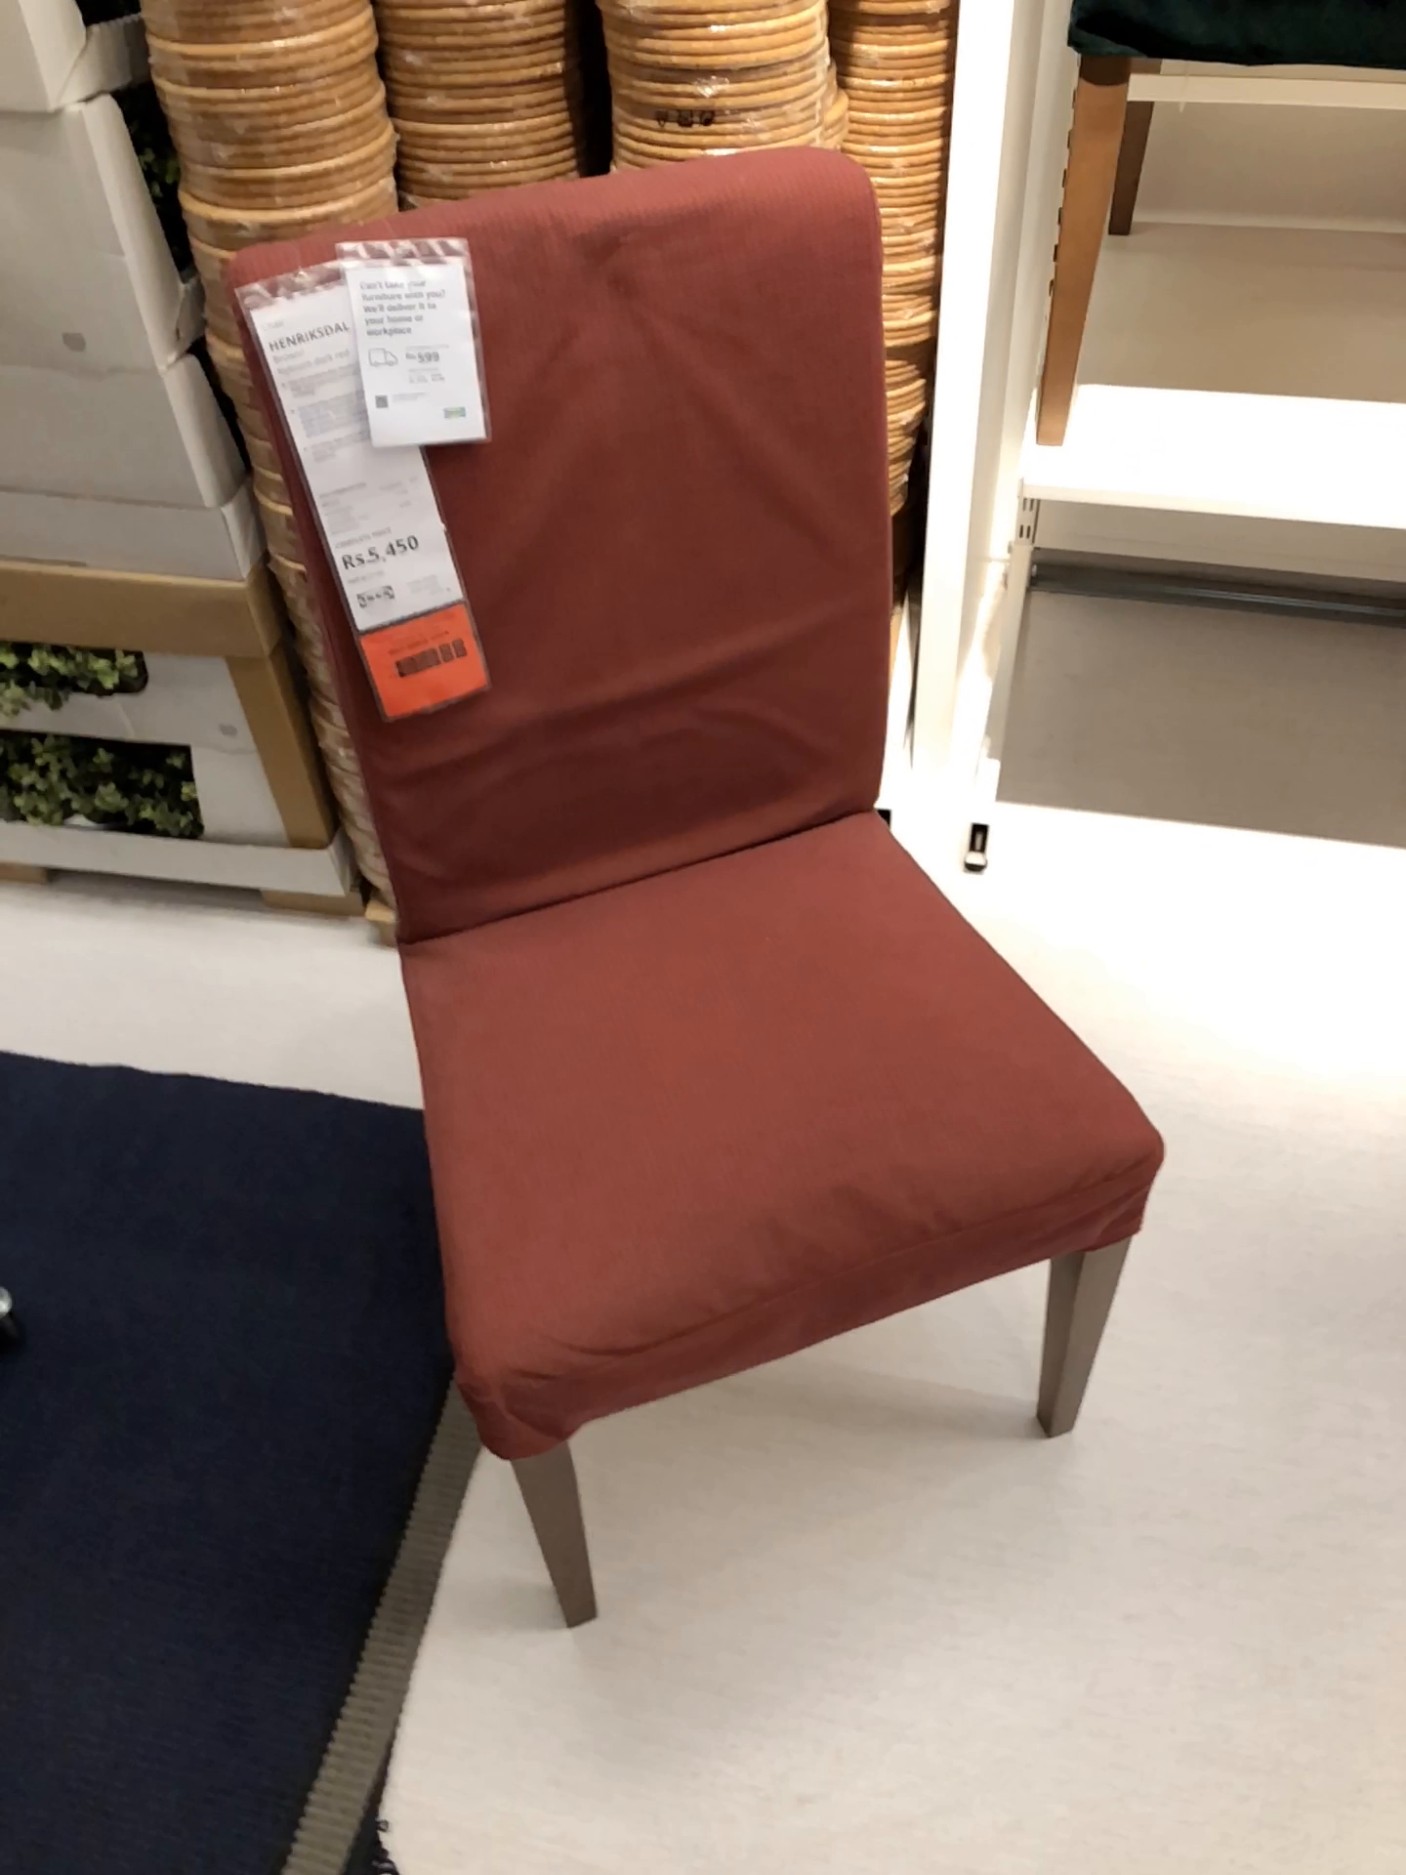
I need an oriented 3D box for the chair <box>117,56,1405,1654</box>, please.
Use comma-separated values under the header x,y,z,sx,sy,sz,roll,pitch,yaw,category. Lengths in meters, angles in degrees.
x,y,z,sx,sy,sz,roll,pitch,yaw,category
0.010,0.010,1.157,0.520,0.994,0.533,-17,48,-12,chair
